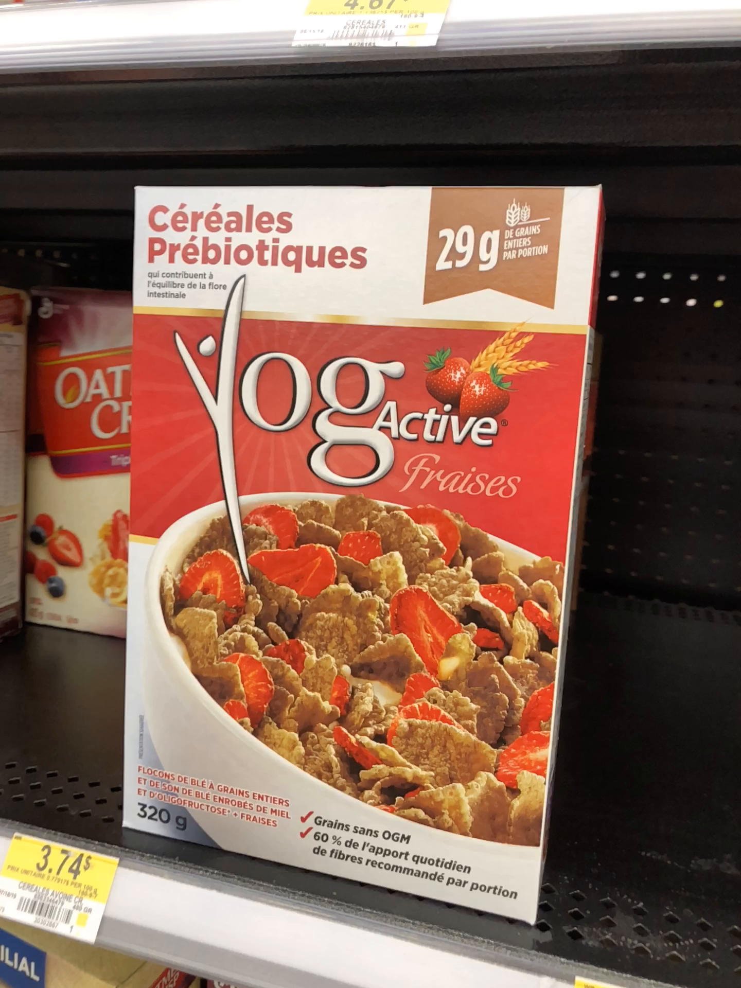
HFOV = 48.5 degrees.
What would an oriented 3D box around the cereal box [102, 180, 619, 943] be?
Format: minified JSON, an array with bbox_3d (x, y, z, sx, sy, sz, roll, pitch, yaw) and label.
[{"bbox_3d":[-0.012,0.021,0.354,0.200,0.289,0.050,6,9,15],"label":"cereal box"}]
